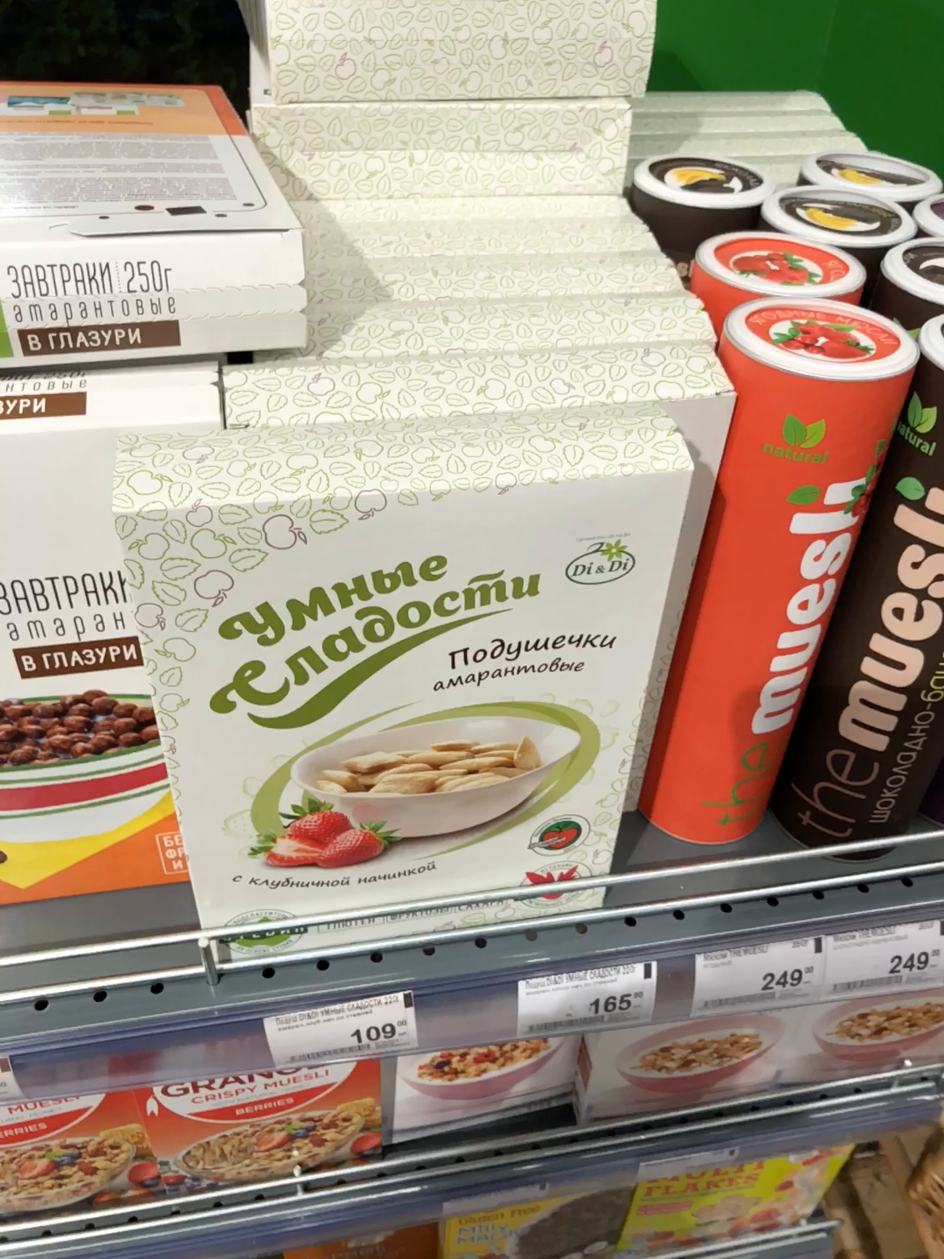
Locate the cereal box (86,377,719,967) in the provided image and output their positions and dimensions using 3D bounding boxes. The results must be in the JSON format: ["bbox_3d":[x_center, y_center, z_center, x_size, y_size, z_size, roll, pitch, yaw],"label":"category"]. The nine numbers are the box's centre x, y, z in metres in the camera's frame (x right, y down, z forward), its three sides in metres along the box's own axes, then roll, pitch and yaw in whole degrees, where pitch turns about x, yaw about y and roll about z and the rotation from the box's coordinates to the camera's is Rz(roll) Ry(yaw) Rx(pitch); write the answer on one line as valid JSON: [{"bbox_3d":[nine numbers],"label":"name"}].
[{"bbox_3d":[-0.027,0.031,0.430,0.200,0.258,0.050,-5,41,-9],"label":"cereal box"}]
